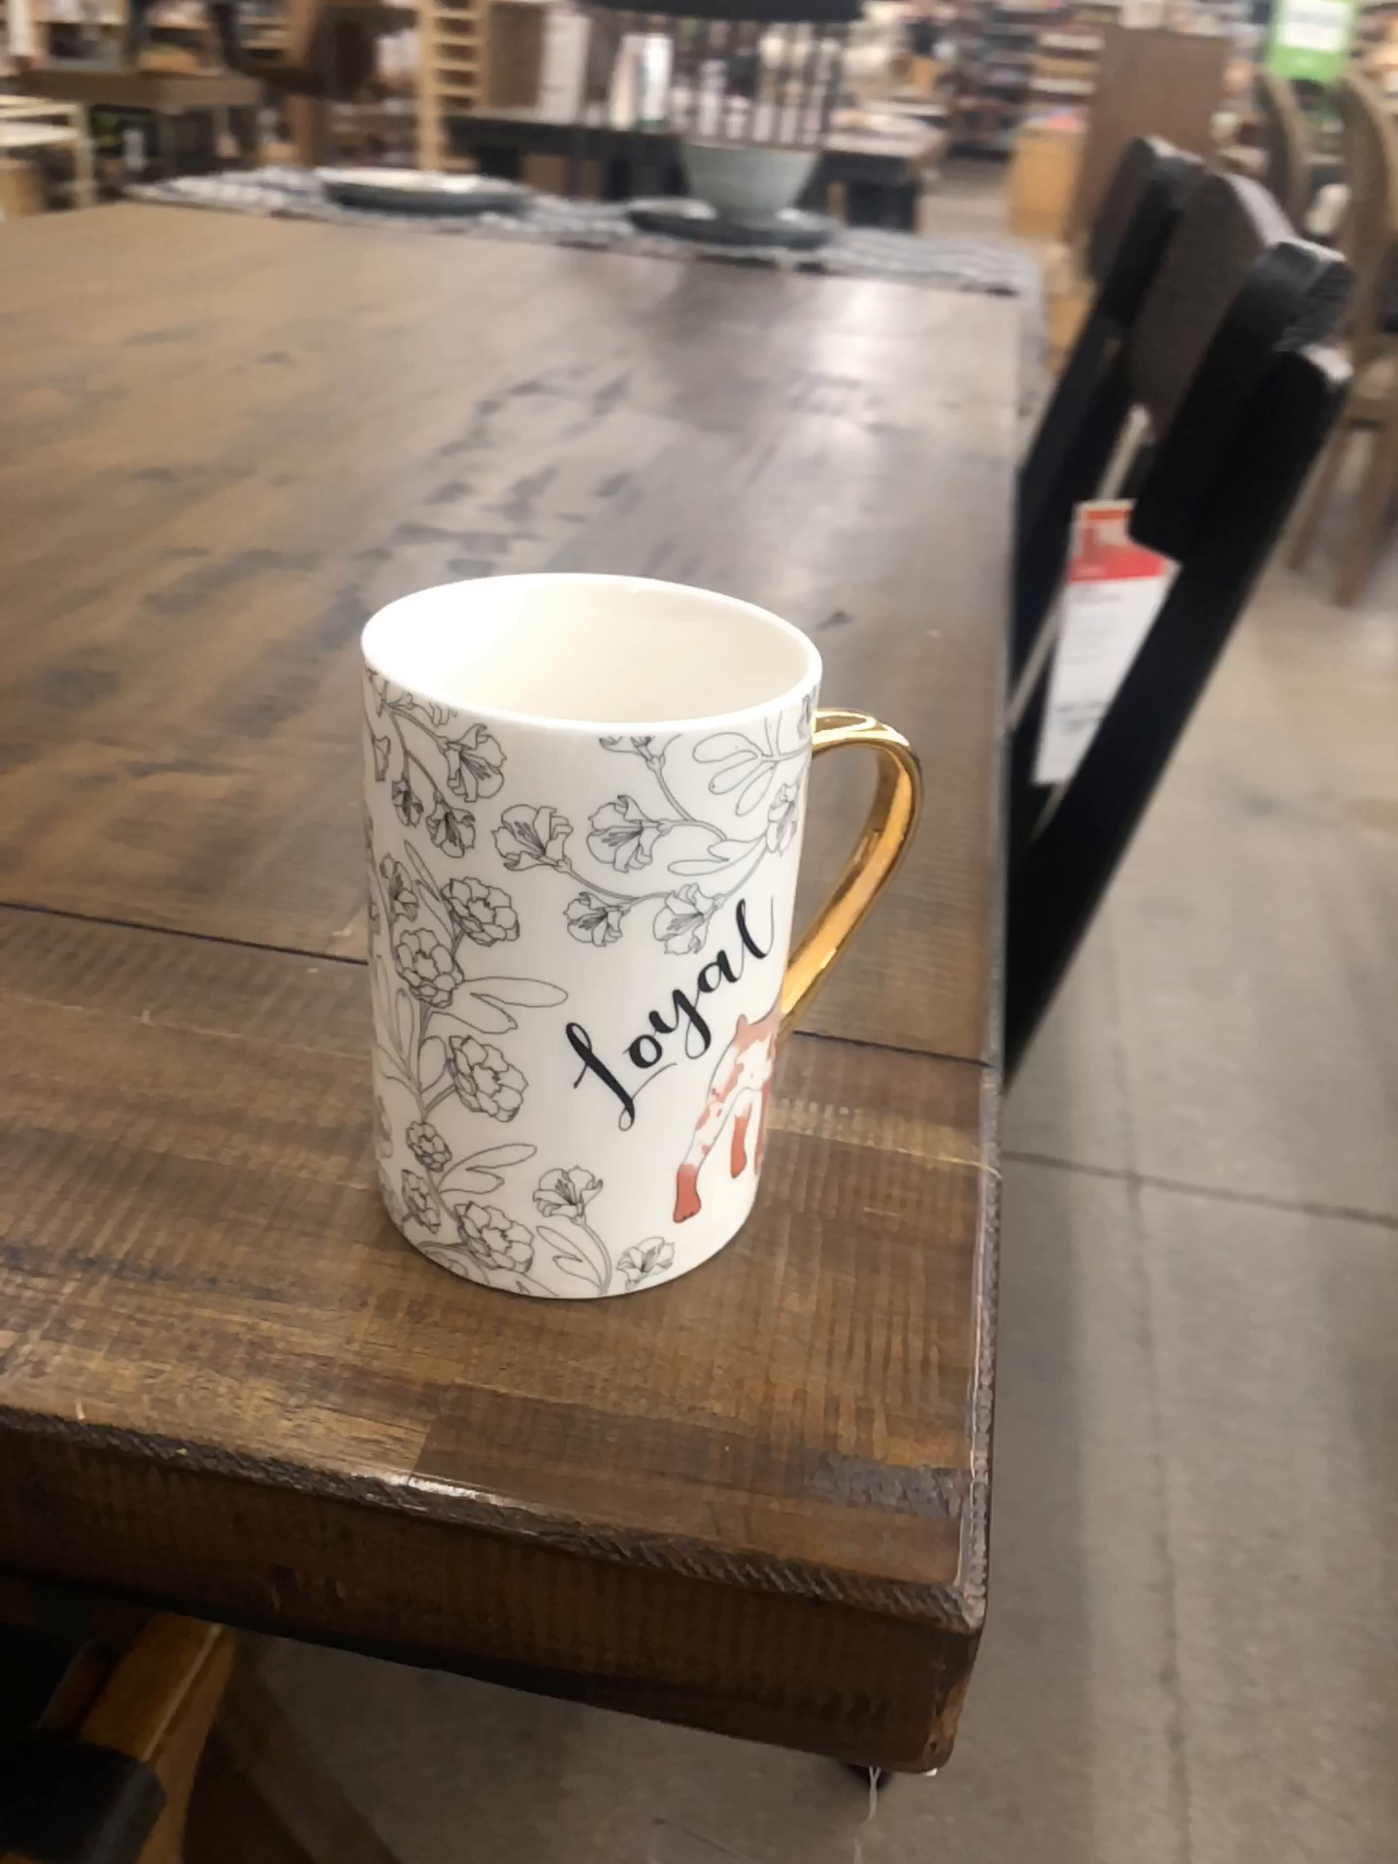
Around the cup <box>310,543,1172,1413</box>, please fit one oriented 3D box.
[{"bbox_3d":[-0.002,-0.001,0.293,0.119,0.115,0.097,-7,30,-21],"label":"cup"}]
